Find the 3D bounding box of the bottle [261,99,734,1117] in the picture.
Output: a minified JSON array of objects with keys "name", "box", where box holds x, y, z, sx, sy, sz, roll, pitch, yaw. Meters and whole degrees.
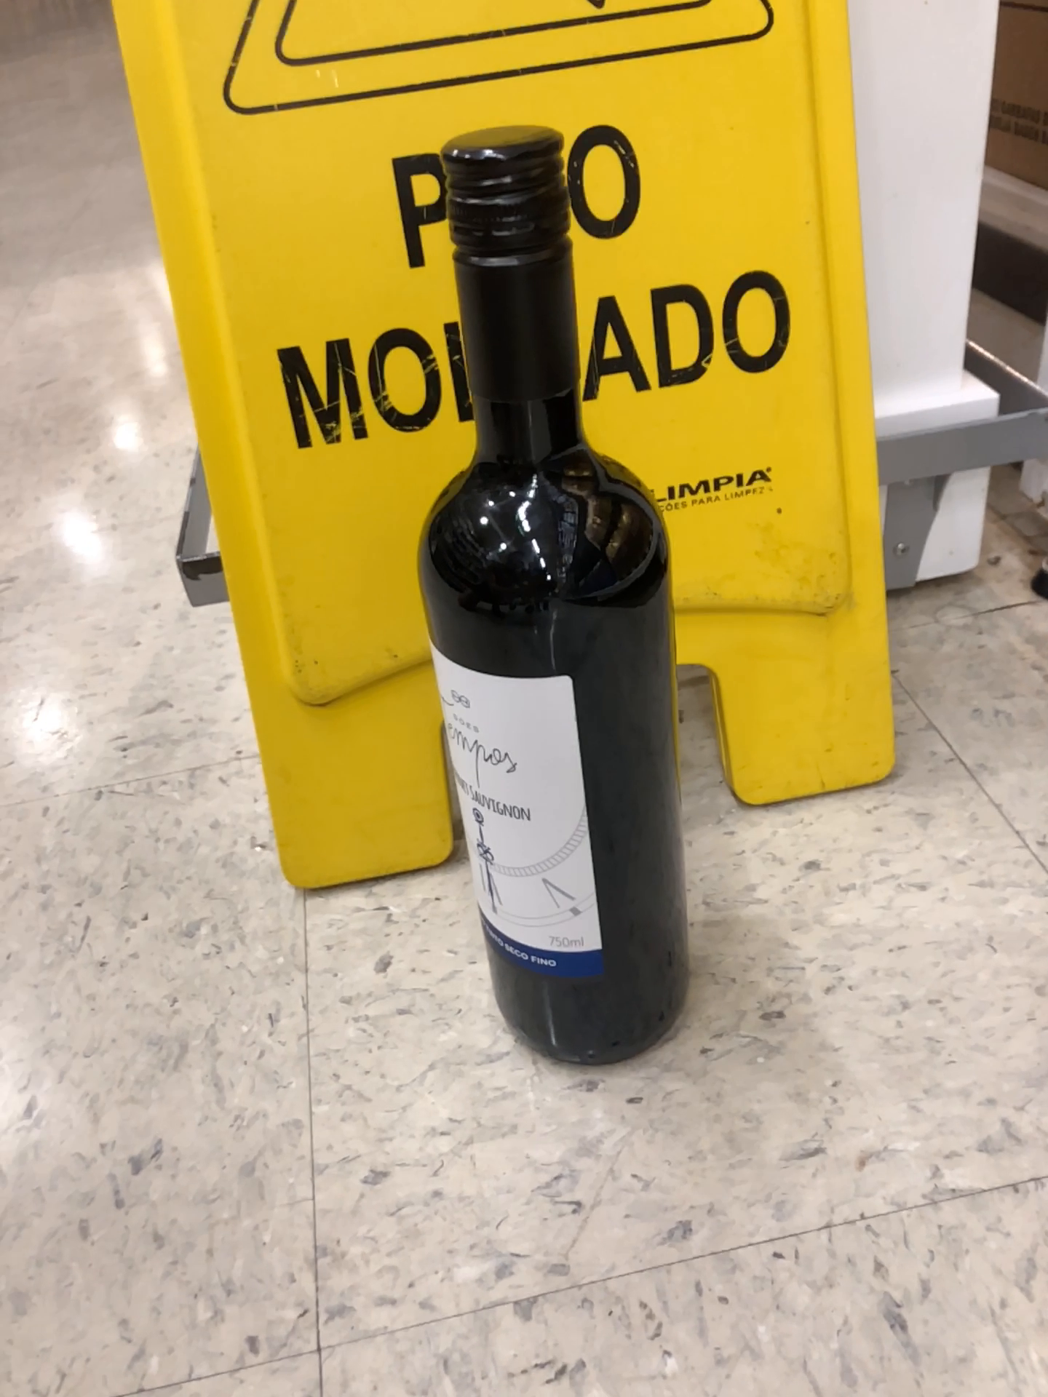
[{"name":"bottle","box":[0.007,-0.010,0.344,0.070,0.288,0.080,-30,41,-28]}]
